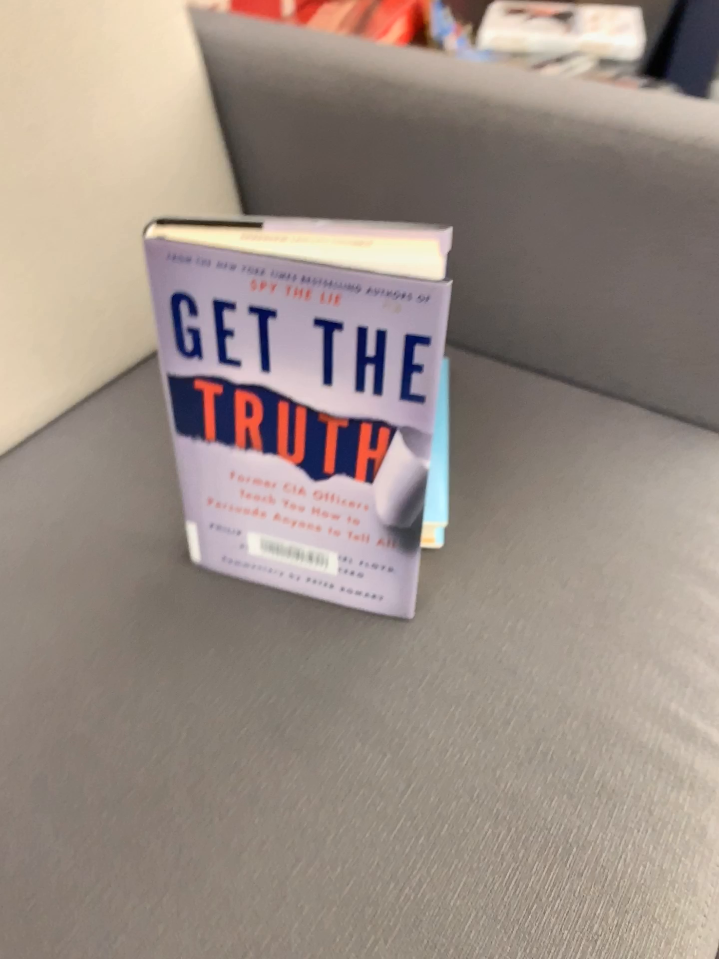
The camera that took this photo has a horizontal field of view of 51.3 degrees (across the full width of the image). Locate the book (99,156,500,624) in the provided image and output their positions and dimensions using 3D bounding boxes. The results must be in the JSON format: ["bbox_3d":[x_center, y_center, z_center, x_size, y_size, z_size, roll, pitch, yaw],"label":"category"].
[{"bbox_3d":[-0.026,-0.038,0.396,0.160,0.219,0.070,11,41,10],"label":"book"}]

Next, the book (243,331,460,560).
[{"bbox_3d":[0.003,-0.035,0.559,0.140,0.030,0.201,4,47,3],"label":"book"}]
